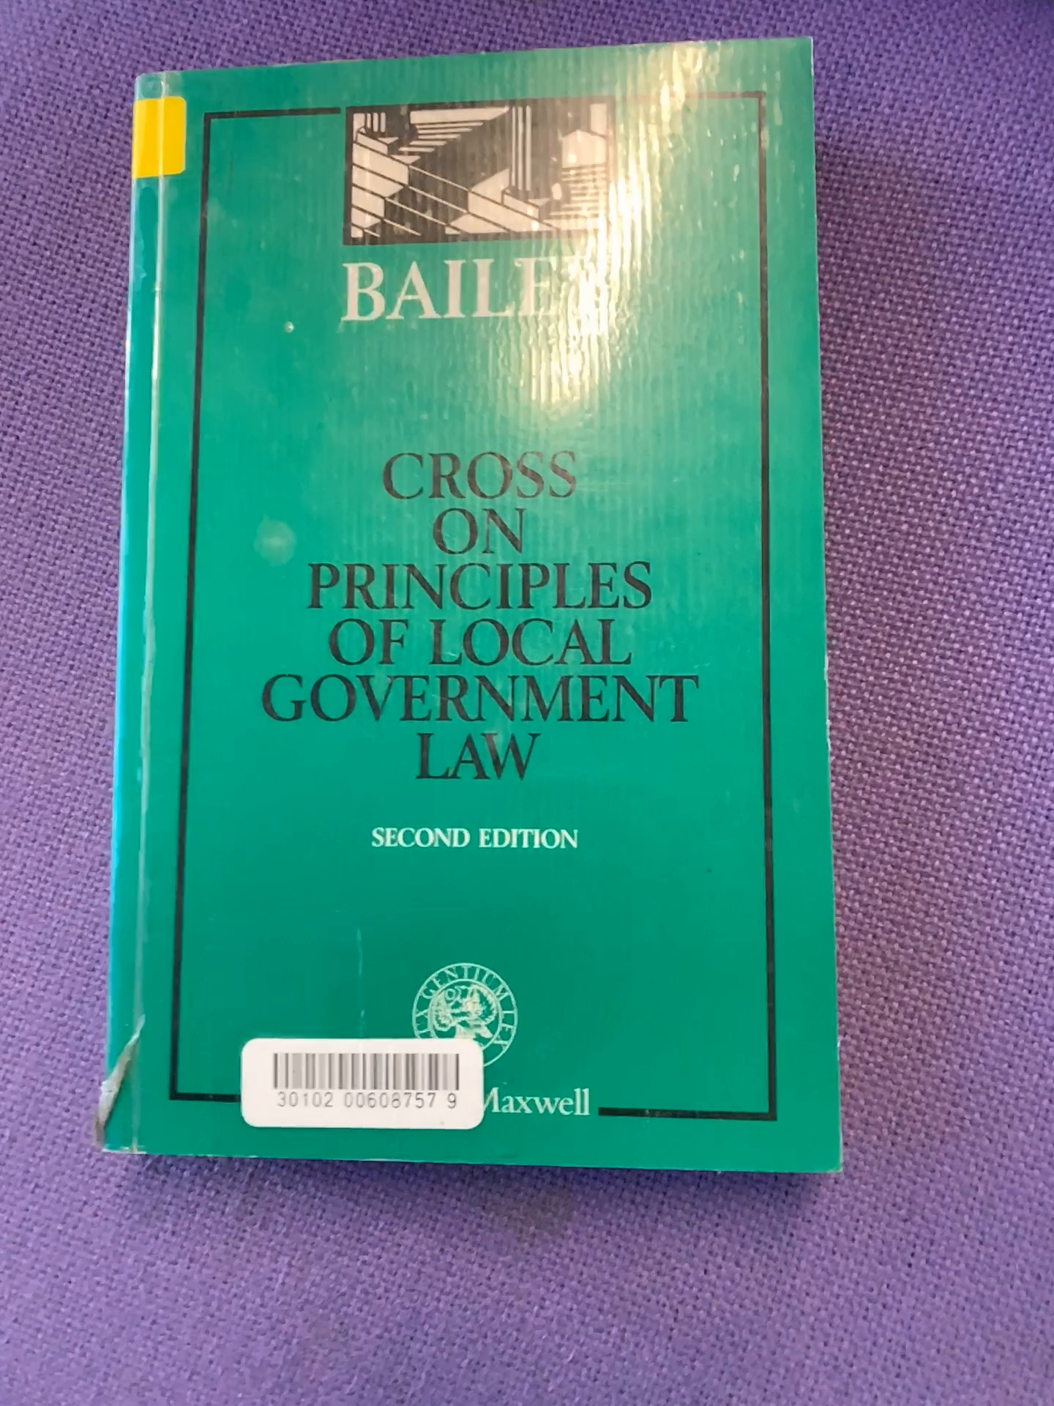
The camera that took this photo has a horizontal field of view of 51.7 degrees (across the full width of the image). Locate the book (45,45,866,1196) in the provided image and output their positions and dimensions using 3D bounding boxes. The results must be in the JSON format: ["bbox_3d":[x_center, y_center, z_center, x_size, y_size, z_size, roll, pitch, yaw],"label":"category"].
[{"bbox_3d":[-0.016,-0.020,0.244,0.160,0.040,0.236,-1,83,3],"label":"book"}]
